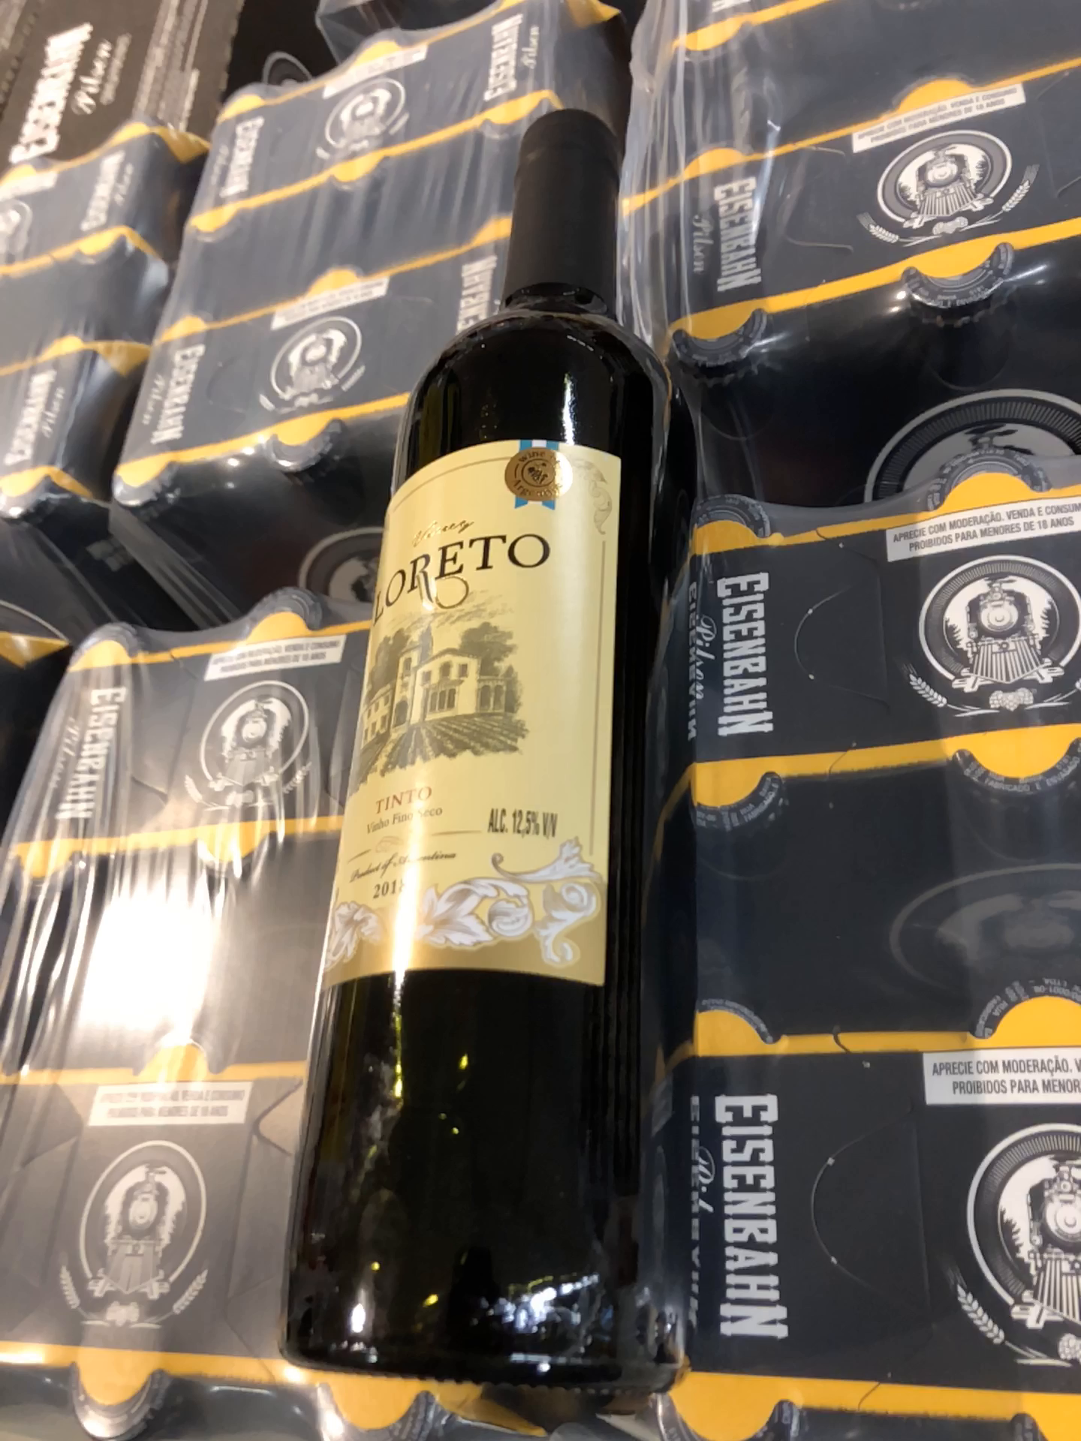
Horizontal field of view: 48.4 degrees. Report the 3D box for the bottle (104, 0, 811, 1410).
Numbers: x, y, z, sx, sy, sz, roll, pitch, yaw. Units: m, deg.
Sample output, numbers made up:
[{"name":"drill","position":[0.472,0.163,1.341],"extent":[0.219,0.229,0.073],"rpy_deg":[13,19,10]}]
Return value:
[{"name":"bottle","position":[-0.002,-0.041,0.267],"extent":[0.080,0.080,0.331],"rpy_deg":[-15,57,33]}]
